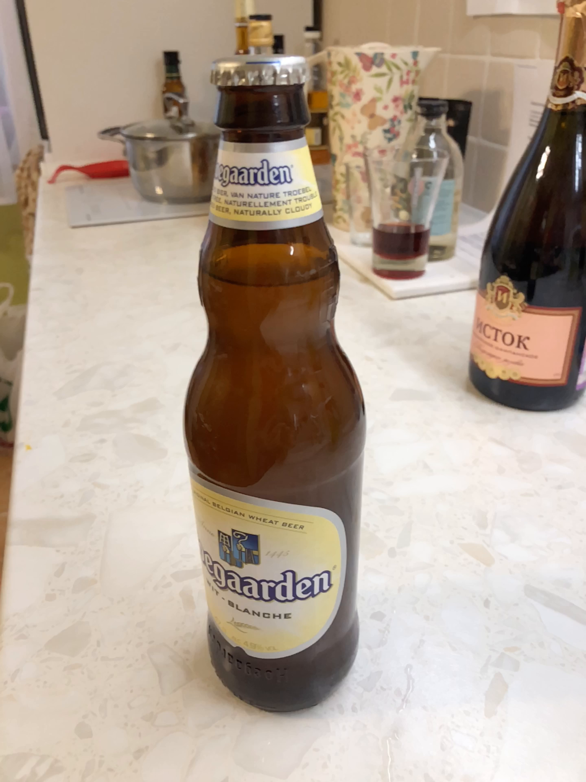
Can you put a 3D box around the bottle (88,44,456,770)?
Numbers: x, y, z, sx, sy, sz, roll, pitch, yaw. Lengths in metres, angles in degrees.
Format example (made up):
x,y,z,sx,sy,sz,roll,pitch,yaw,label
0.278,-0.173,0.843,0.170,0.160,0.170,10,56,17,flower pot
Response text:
x,y,z,sx,sy,sz,roll,pitch,yaw,label
0.000,0.013,0.241,0.070,0.248,0.080,16,33,28,bottle
